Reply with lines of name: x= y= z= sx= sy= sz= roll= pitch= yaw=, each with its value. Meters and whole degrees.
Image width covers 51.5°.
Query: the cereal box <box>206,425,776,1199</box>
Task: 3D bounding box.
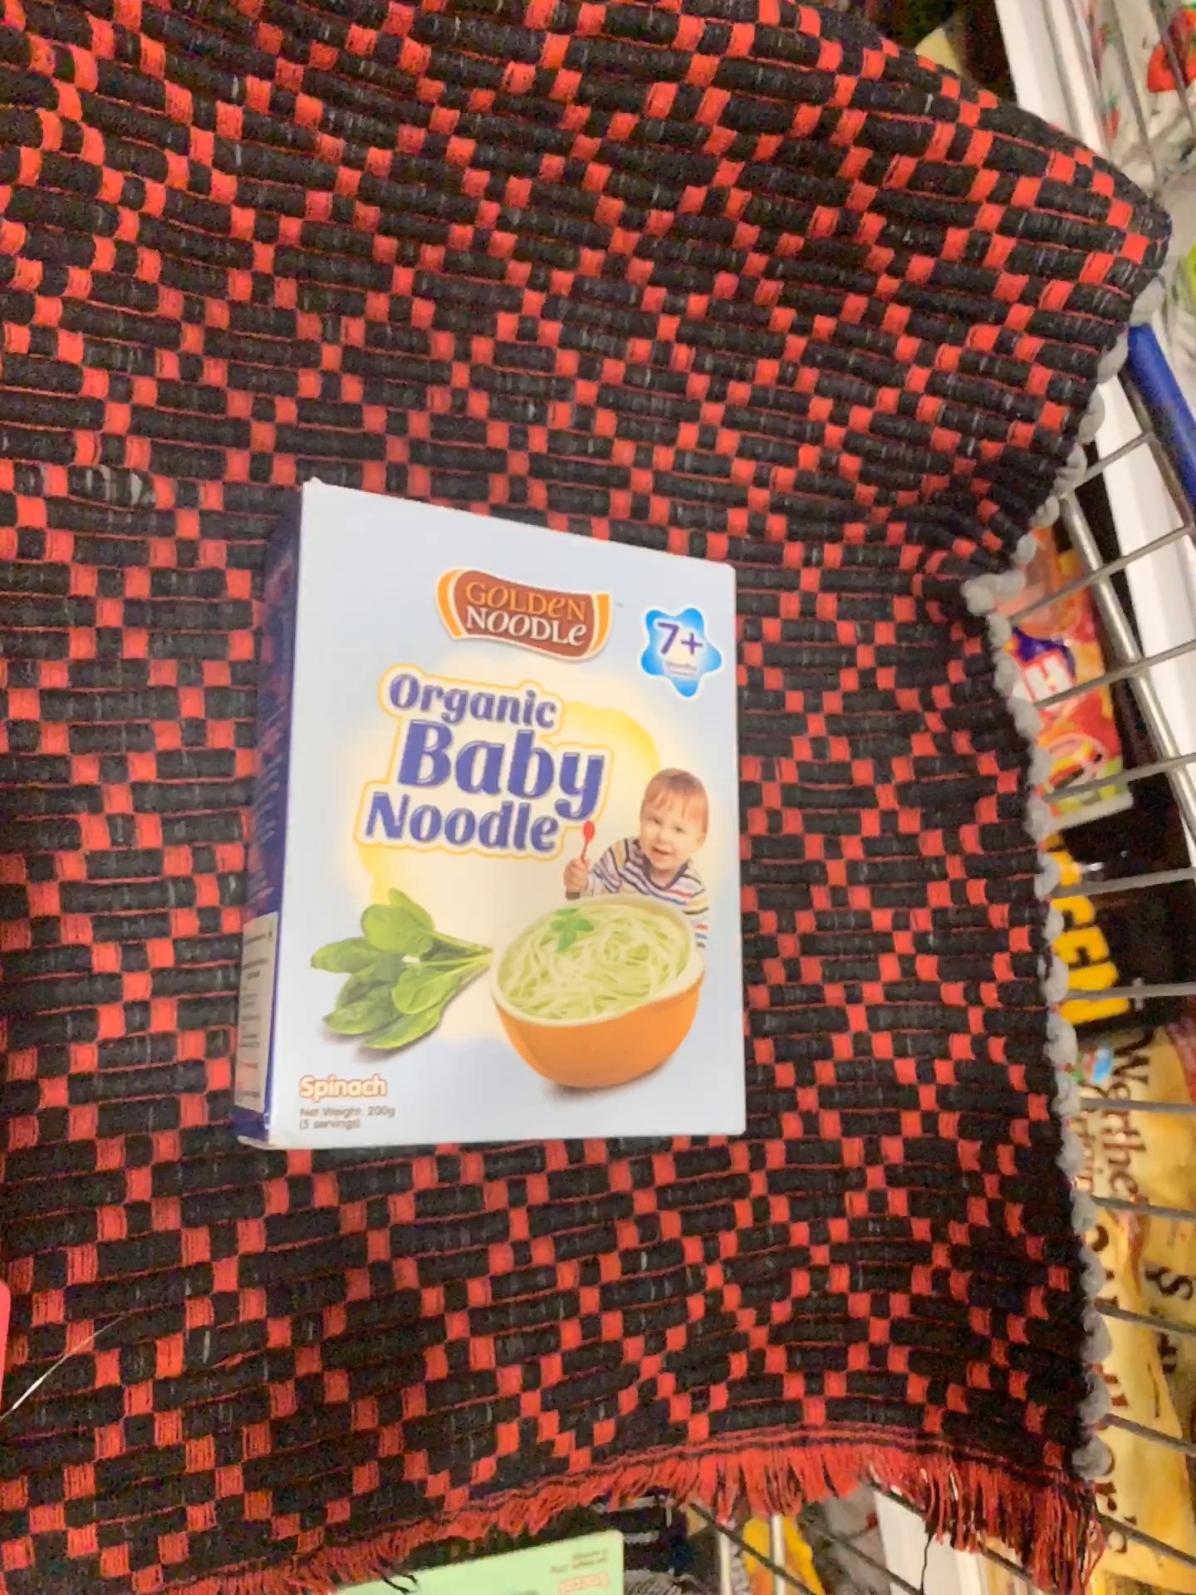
cereal box: x=-0.024 y=0.008 z=0.320 sx=0.130 sy=0.050 sz=0.170 roll=5 pitch=78 yaw=-26
